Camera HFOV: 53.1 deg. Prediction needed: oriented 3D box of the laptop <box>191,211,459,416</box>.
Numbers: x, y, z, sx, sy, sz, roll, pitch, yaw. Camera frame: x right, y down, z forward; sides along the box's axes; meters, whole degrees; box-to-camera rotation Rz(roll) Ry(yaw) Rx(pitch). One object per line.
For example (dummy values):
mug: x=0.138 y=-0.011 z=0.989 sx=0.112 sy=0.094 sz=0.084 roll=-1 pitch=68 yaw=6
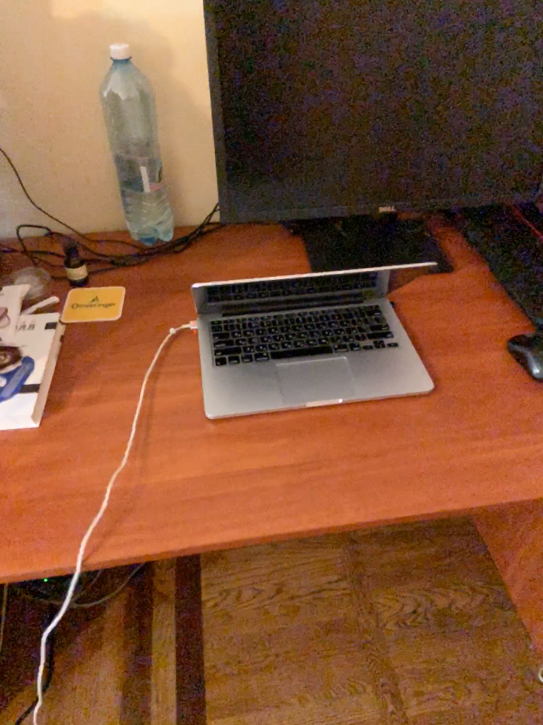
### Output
laptop: x=0.054 y=-0.075 z=0.735 sx=0.302 sy=0.150 sz=0.208 roll=-6 pitch=42 yaw=-8
